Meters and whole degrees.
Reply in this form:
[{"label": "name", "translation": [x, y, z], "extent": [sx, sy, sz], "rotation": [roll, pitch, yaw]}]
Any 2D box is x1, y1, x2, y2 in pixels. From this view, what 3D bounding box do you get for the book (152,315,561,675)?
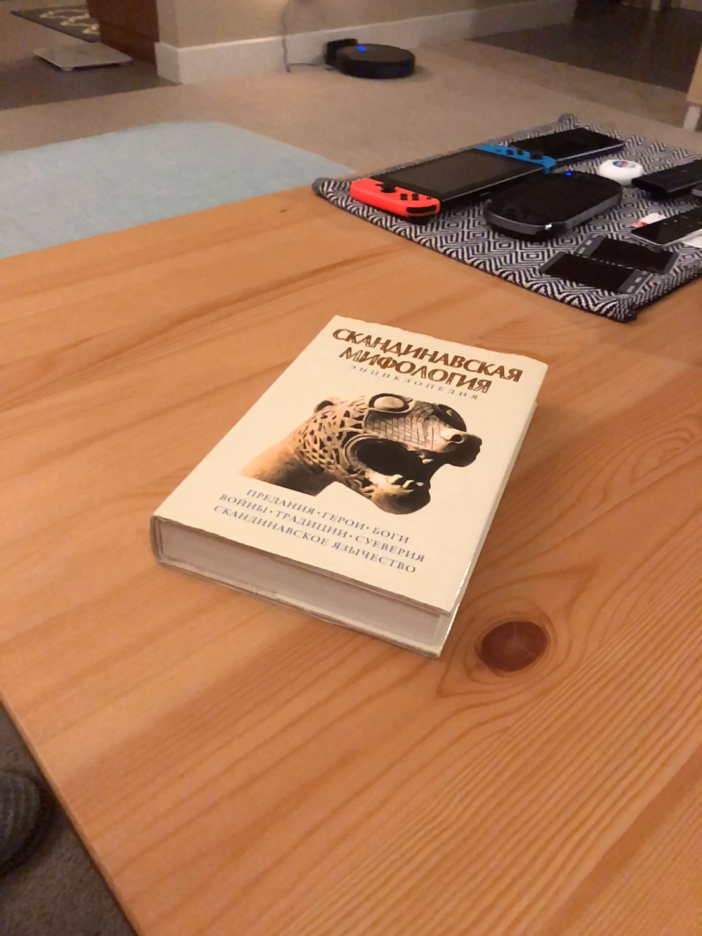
[{"label": "book", "translation": [0.017, -0.005, 0.420], "extent": [0.146, 0.037, 0.211], "rotation": [16, 42, 17]}]
